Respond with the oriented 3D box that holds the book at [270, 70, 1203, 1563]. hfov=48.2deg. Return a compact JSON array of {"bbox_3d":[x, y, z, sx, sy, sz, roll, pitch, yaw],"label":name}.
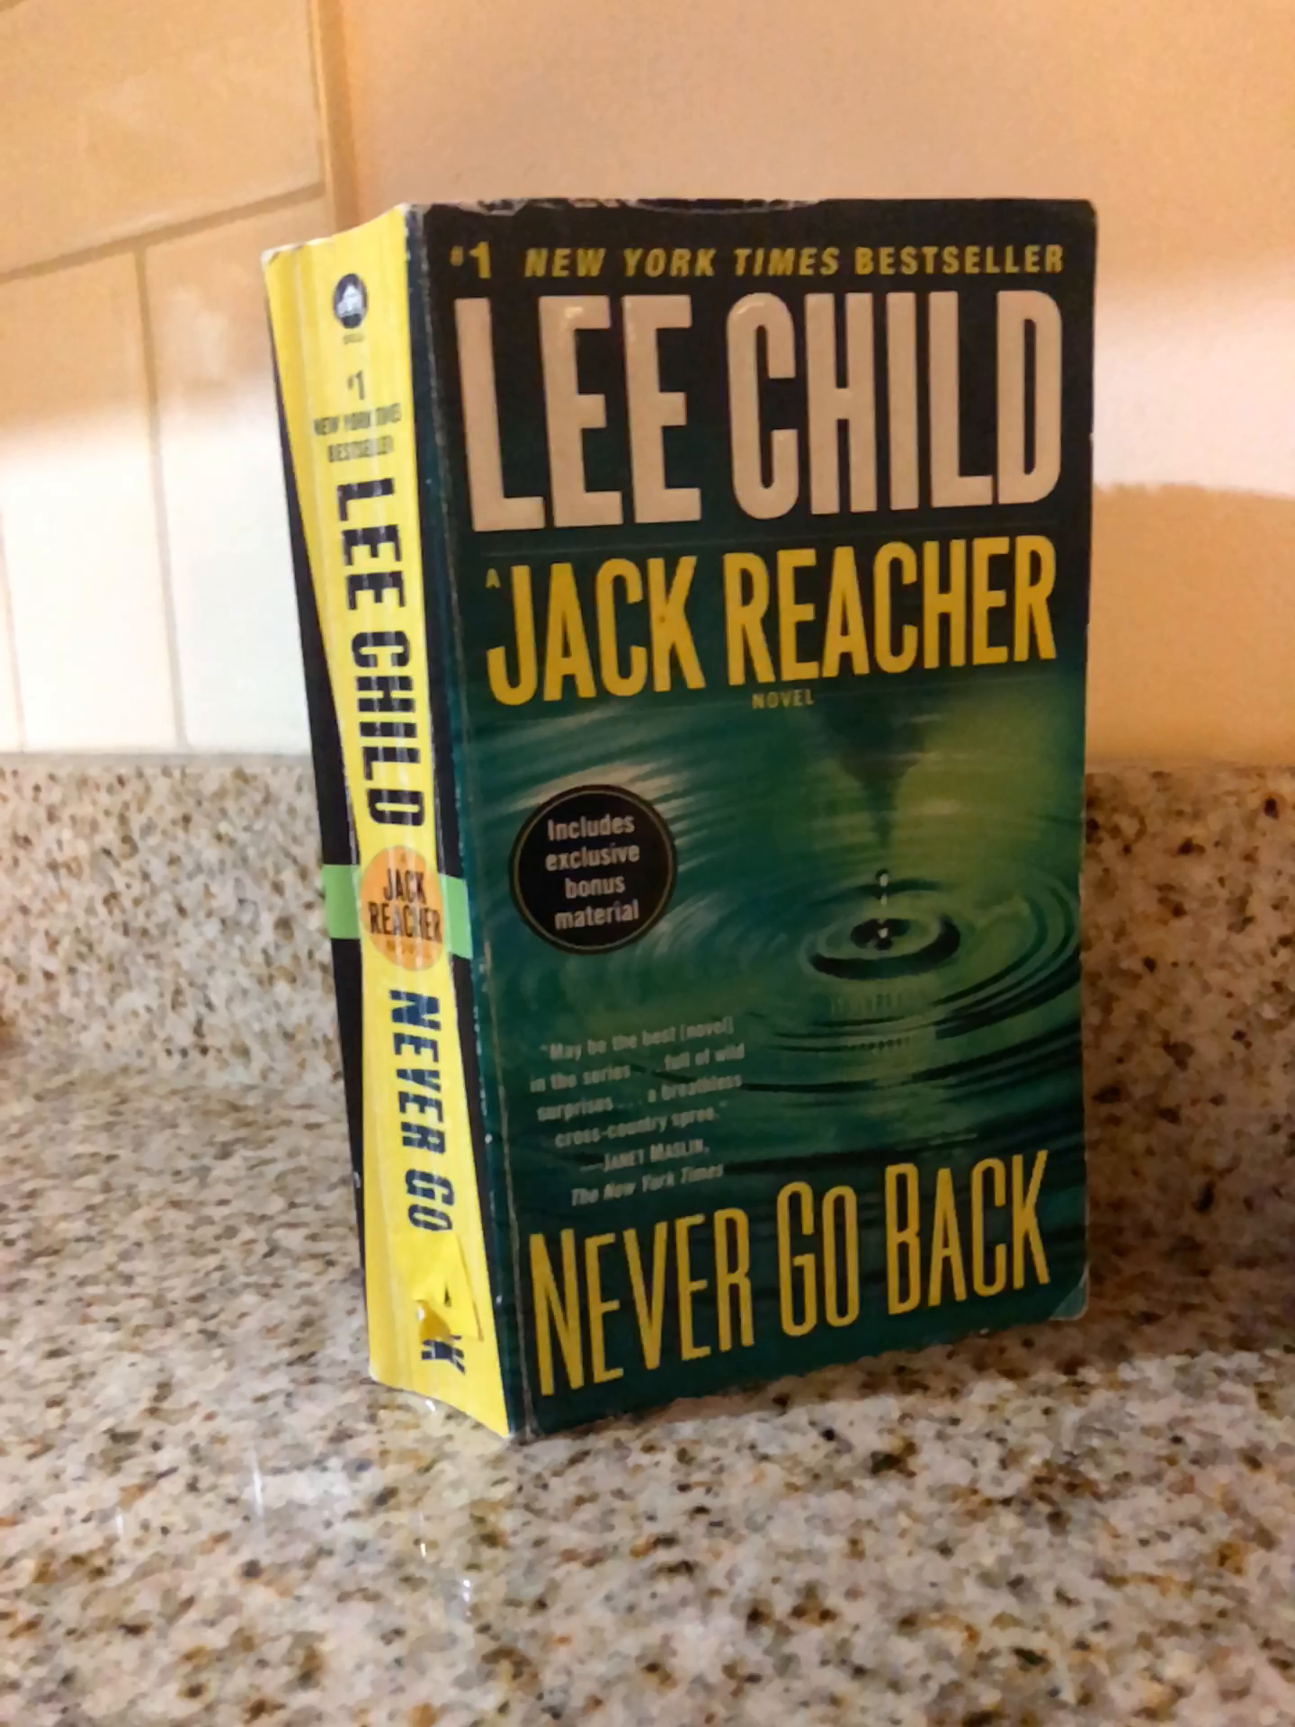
[{"bbox_3d":[0.025,-0.011,0.270,0.160,0.220,0.050,-8,11,-28],"label":"book"}]
